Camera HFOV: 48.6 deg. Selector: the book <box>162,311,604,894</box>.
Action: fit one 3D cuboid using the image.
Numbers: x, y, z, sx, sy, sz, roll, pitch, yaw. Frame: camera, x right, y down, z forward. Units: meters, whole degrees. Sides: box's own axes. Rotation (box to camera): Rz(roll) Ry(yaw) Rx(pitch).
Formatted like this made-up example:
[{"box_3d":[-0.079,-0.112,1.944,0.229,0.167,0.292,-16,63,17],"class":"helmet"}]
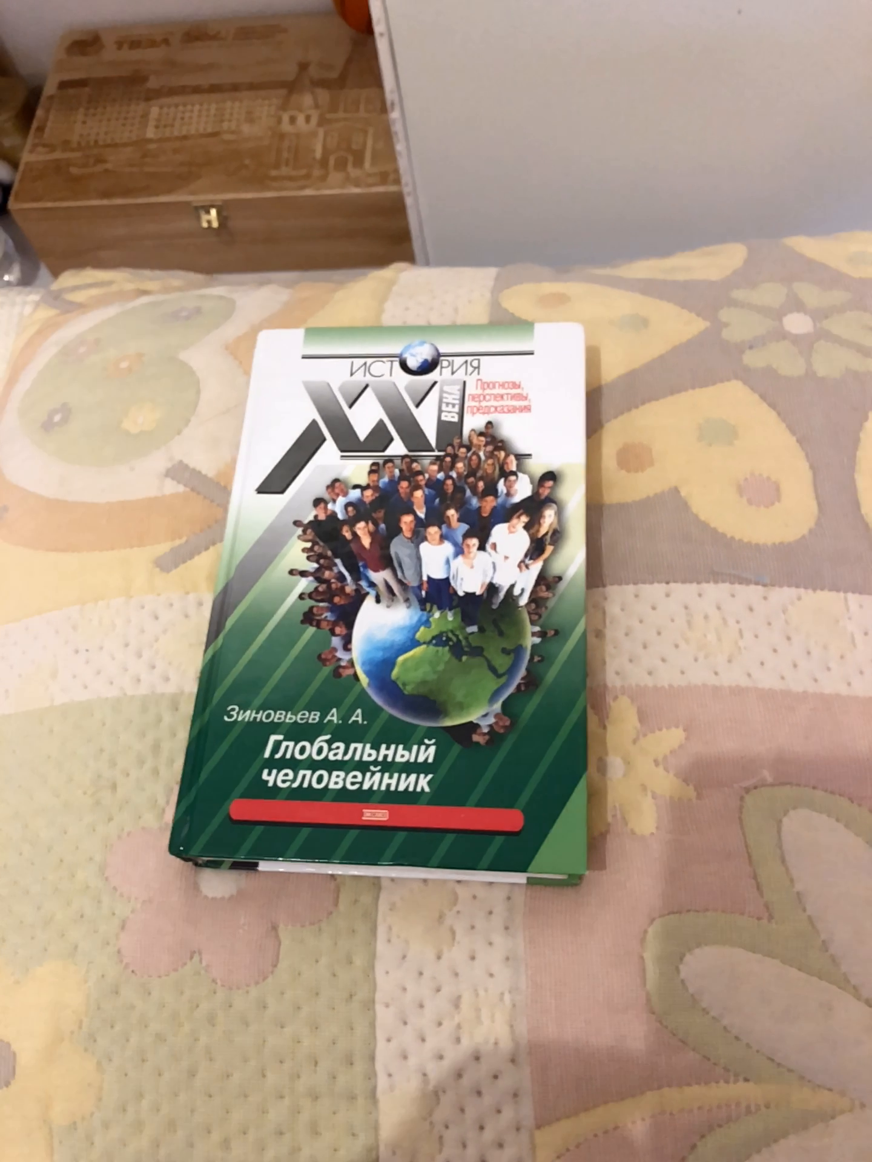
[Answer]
[{"box_3d":[-0.009,-0.002,0.346,0.133,0.036,0.208,1,65,7],"class":"book"}]
